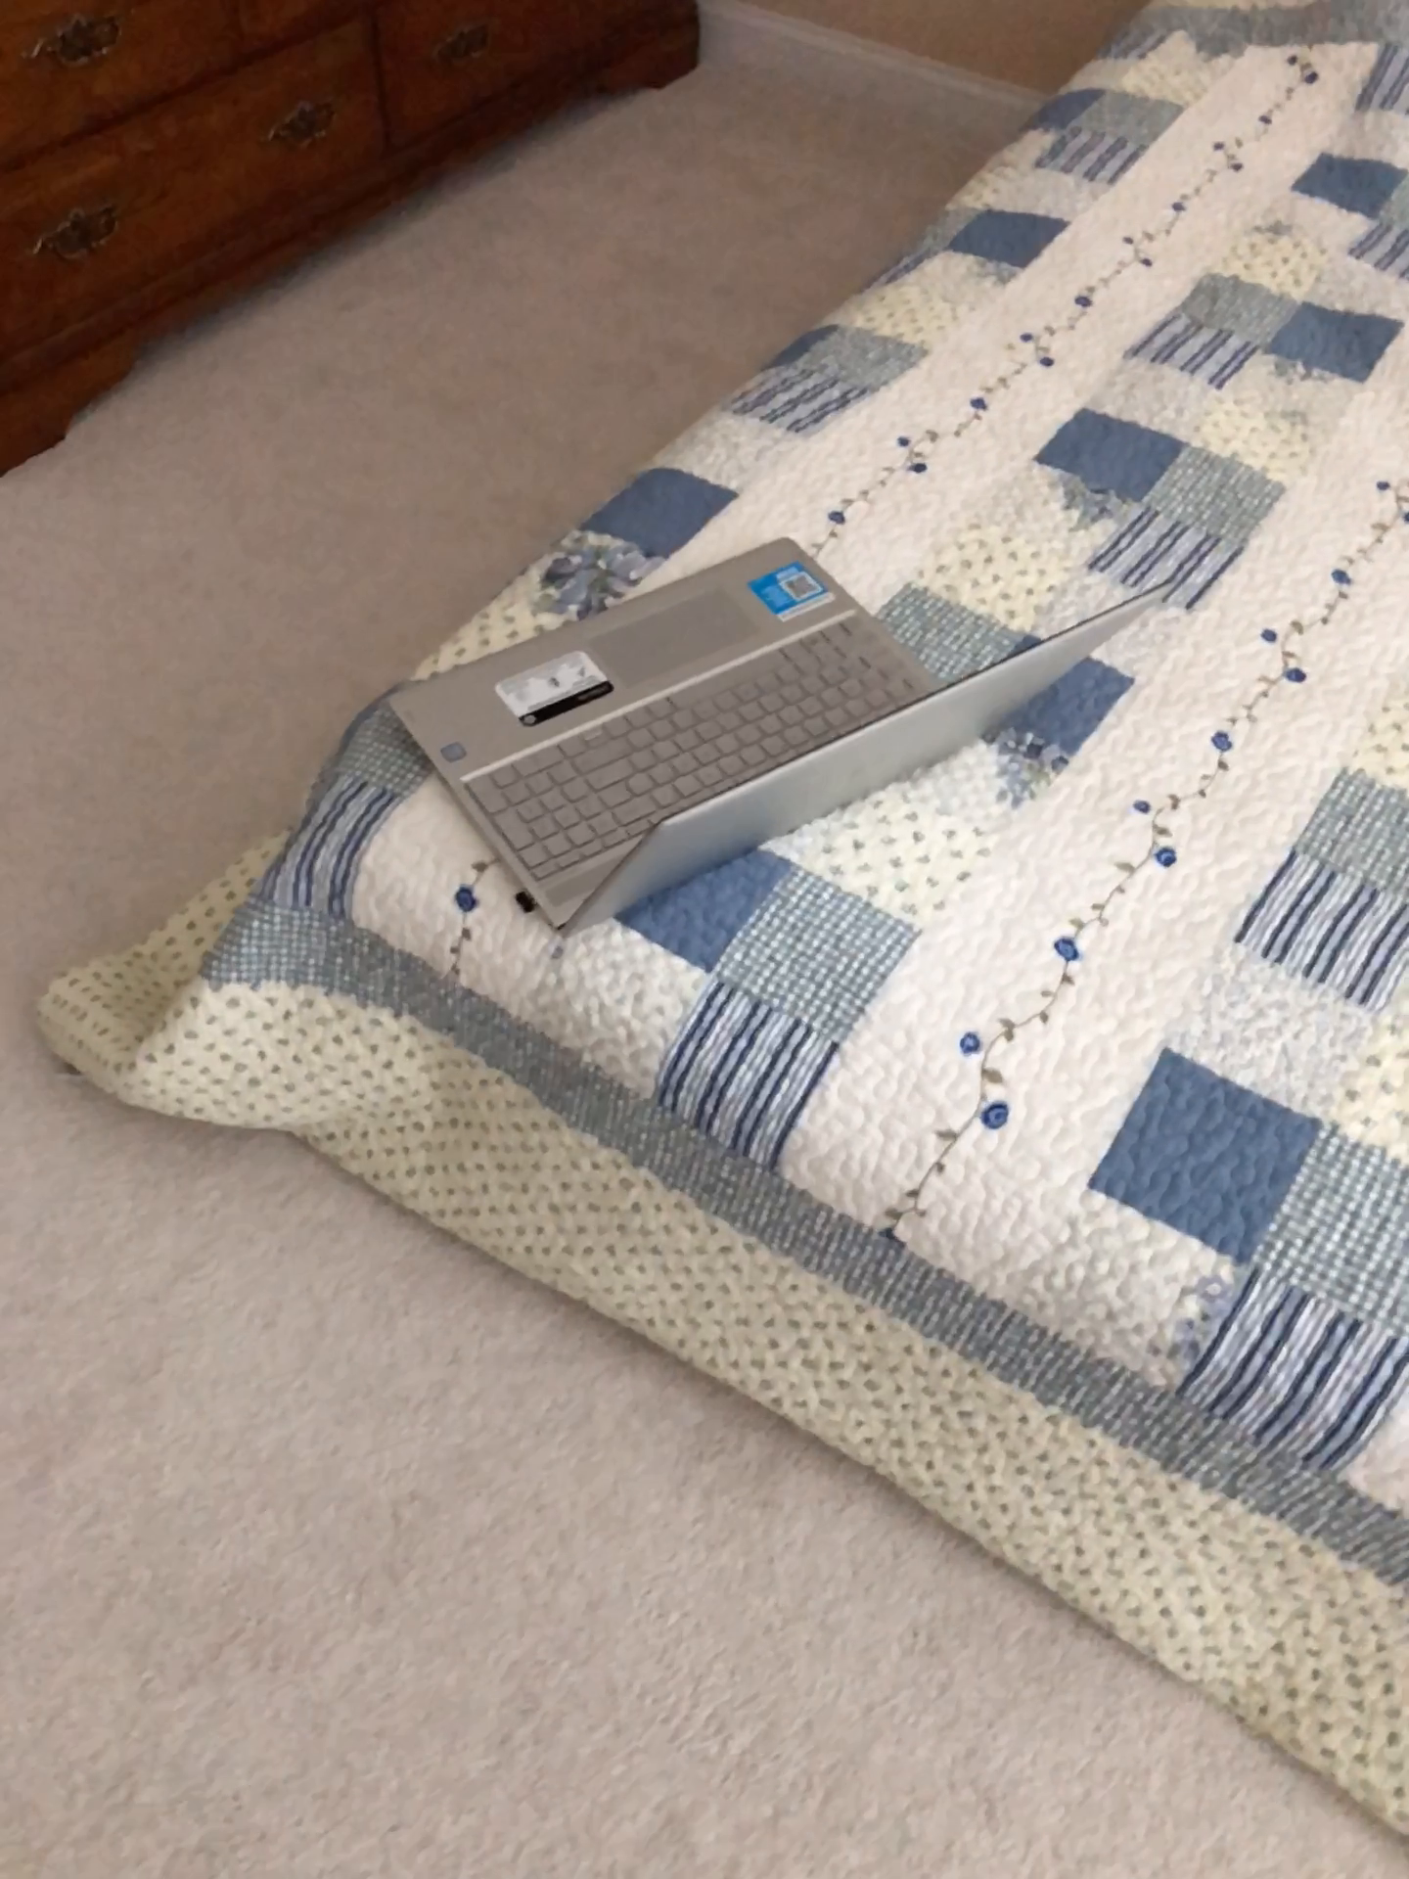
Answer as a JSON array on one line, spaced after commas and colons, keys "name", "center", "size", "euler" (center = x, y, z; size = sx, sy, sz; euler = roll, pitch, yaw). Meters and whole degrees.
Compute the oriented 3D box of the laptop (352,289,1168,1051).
[{"name": "laptop", "center": [0.023, -0.195, 1.017], "size": [0.356, 0.208, 0.358], "euler": [-26, 58, -22]}]
